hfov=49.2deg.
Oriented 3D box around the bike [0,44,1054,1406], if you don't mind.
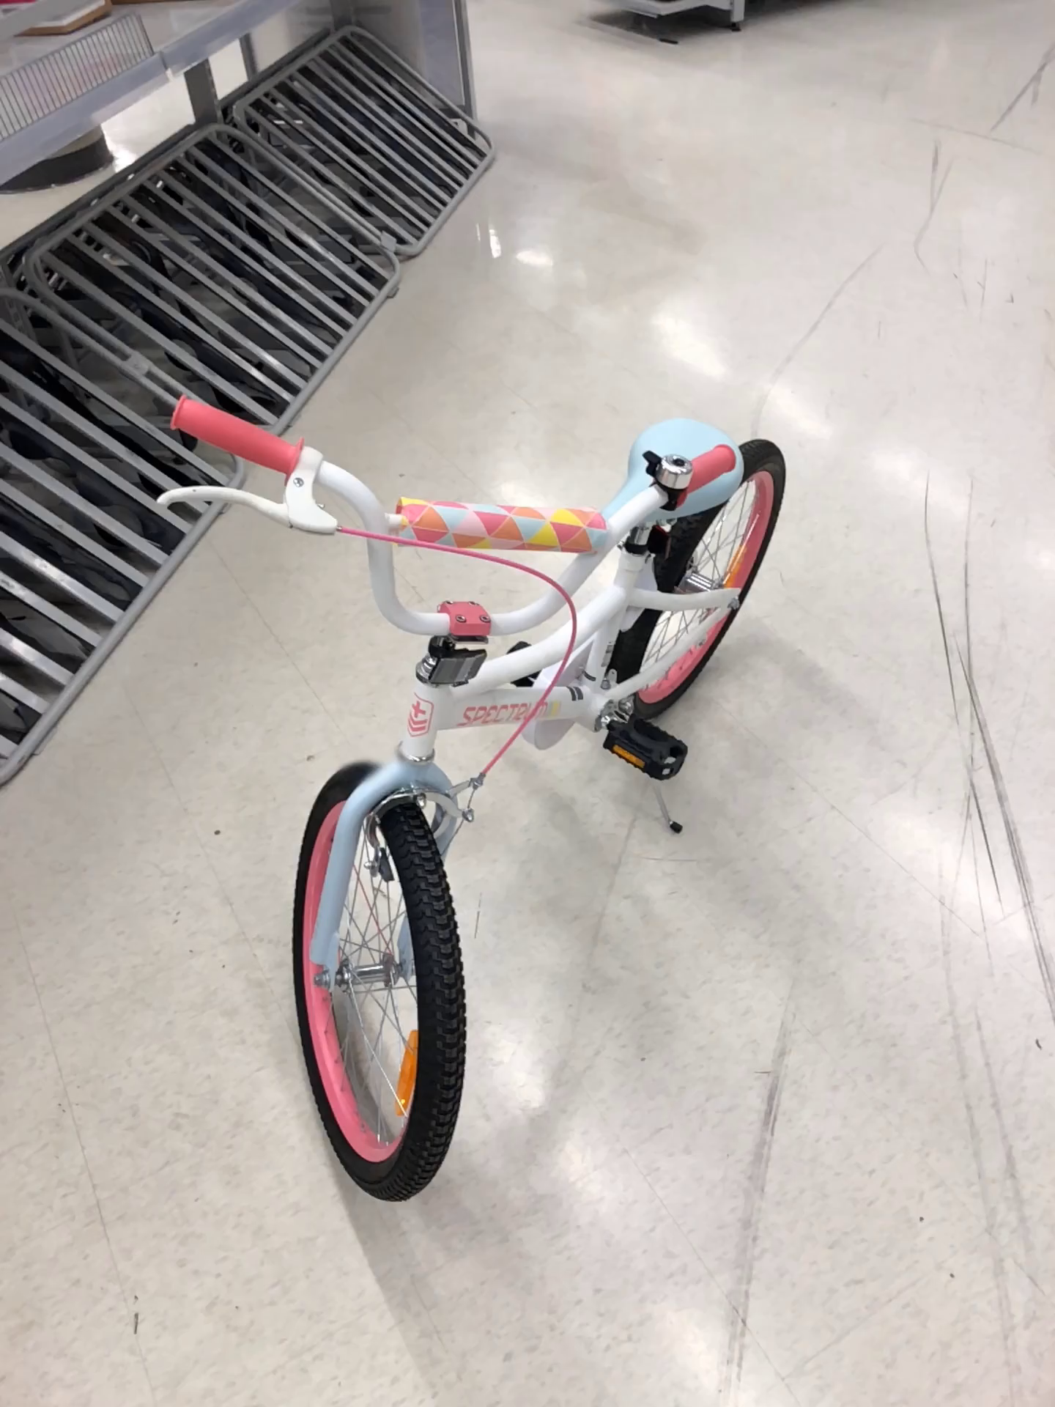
[{"bbox_3d":[0.164,-0.086,1.436,0.632,0.961,1.257,15,47,22],"label":"bike"}]
